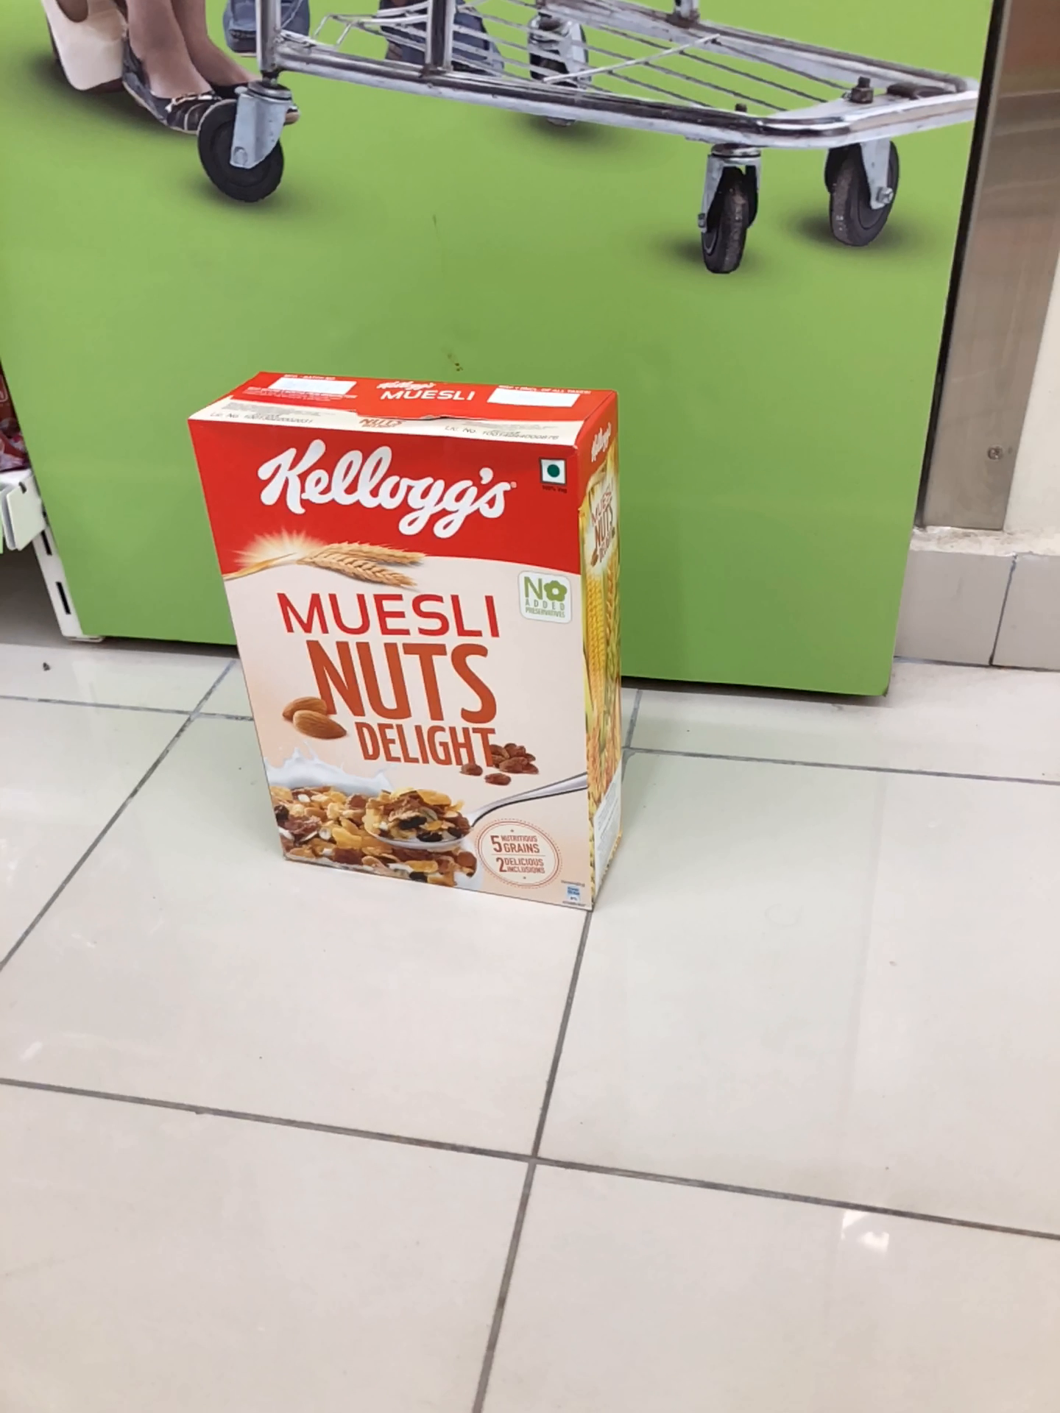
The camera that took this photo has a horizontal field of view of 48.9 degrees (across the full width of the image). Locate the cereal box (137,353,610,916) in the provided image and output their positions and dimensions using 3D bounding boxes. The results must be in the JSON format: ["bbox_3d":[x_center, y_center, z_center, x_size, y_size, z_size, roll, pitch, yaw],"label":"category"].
[{"bbox_3d":[-0.065,-0.033,0.607,0.200,0.268,0.081,7,35,14],"label":"cereal box"}]
